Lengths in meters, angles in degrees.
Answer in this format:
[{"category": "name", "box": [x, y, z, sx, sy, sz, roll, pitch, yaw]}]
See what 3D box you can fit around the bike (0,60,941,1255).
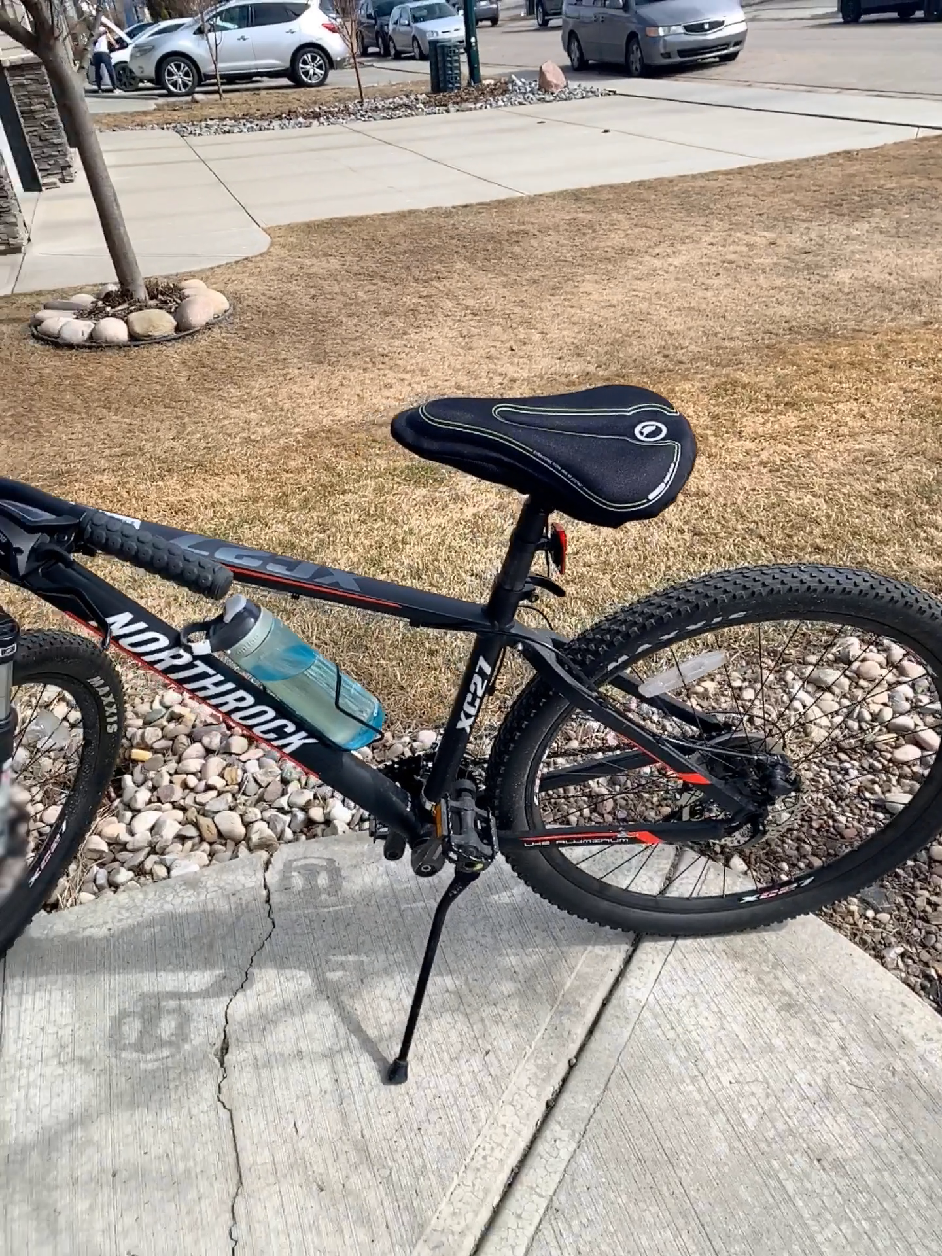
[{"category": "bike", "box": [-0.113, 0.158, 1.002, 1.478, 1.004, 0.603, -13, 33, -3]}]
